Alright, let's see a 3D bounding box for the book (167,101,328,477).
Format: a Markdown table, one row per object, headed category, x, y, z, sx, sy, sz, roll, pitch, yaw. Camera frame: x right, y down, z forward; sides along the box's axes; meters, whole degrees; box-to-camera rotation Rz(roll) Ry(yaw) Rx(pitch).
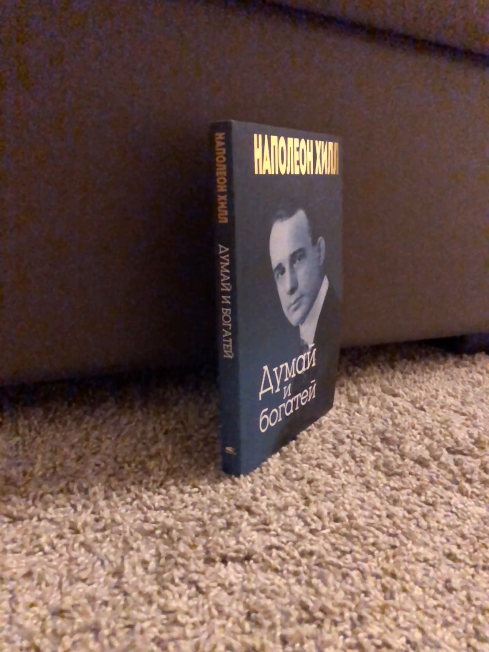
| category | x | y | z | sx | sy | sz | roll | pitch | yaw |
| --- | --- | --- | --- | --- | --- | --- | --- | --- | --- |
| book | 0.010 | -0.026 | 0.344 | 0.030 | 0.198 | 0.132 | 7 | 14 | 32 |
